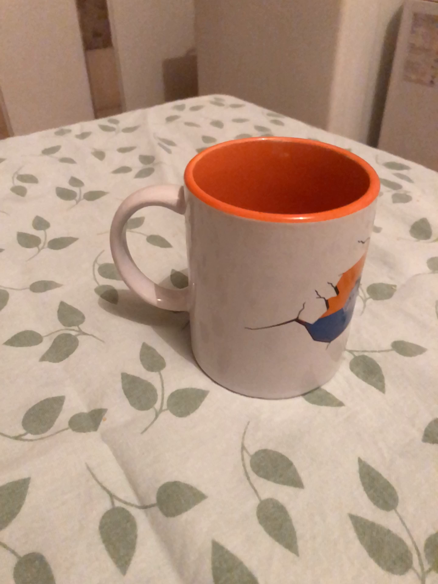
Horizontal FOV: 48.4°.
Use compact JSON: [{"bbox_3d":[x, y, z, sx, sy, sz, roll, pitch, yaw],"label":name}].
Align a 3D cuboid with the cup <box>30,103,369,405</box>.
[{"bbox_3d":[-0.001,-0.021,0.228,0.120,0.099,0.081,8,39,11],"label":"cup"}]
